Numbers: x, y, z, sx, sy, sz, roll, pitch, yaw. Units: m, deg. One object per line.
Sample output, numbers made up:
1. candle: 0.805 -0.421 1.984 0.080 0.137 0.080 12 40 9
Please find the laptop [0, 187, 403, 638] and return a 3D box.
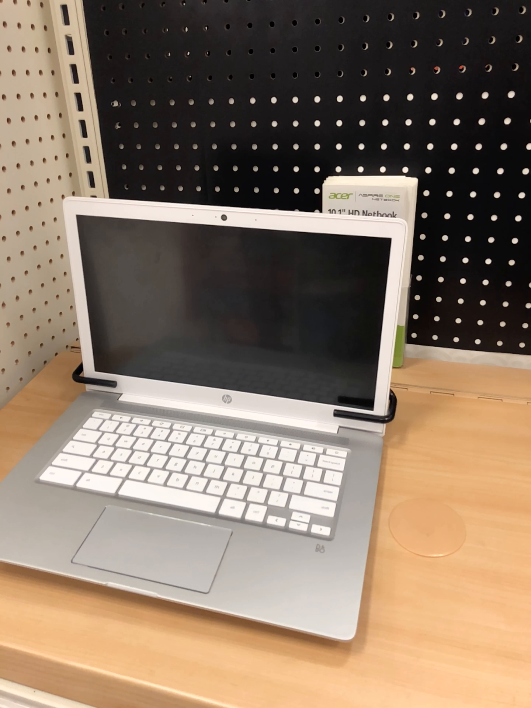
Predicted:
1. laptop: -0.068 0.009 0.503 0.333 0.198 0.281 6 31 13
